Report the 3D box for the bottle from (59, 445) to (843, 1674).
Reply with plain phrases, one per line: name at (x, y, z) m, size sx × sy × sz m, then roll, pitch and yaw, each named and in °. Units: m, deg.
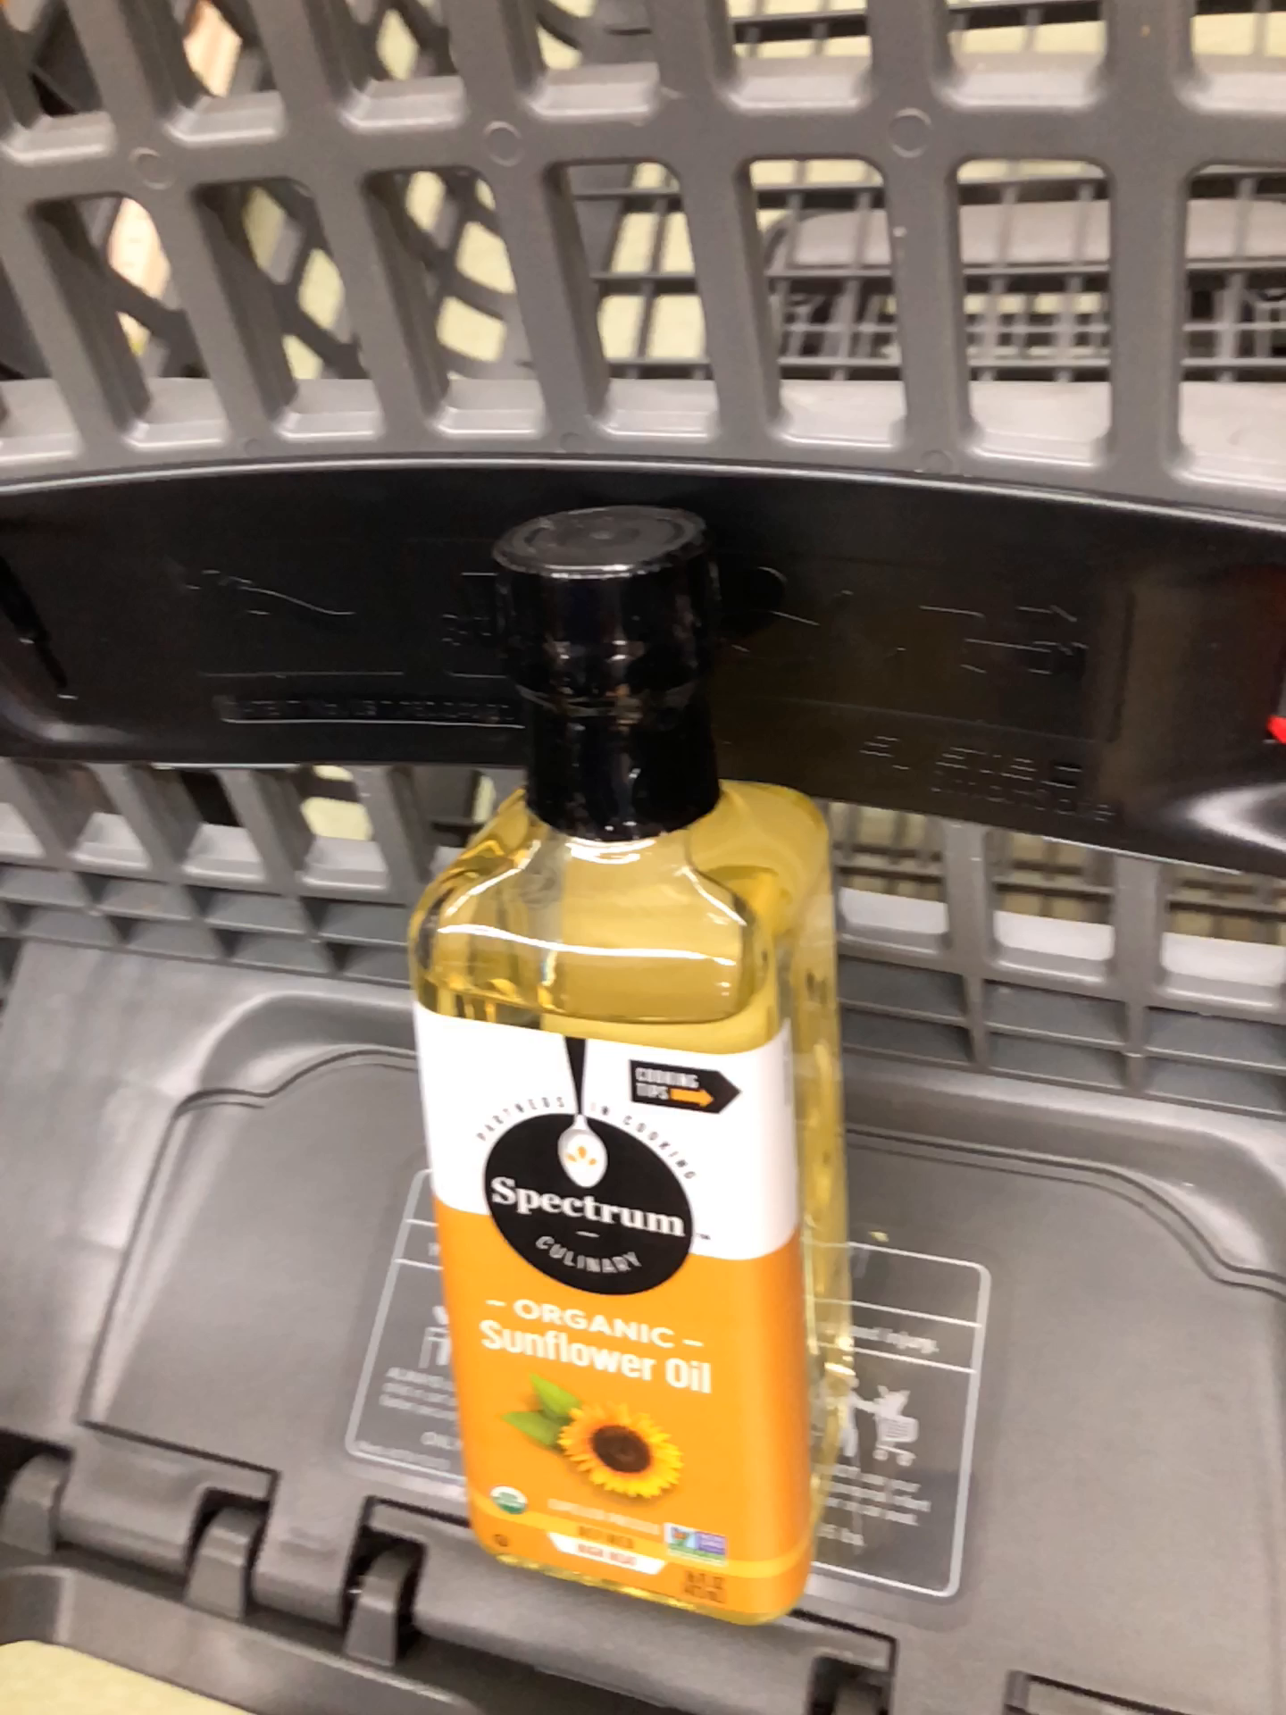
bottle at (-0.014, 0.040, 0.244) m, size 0.080 × 0.200 × 0.070 m, roll 5°, pitch 33°, yaw 17°
